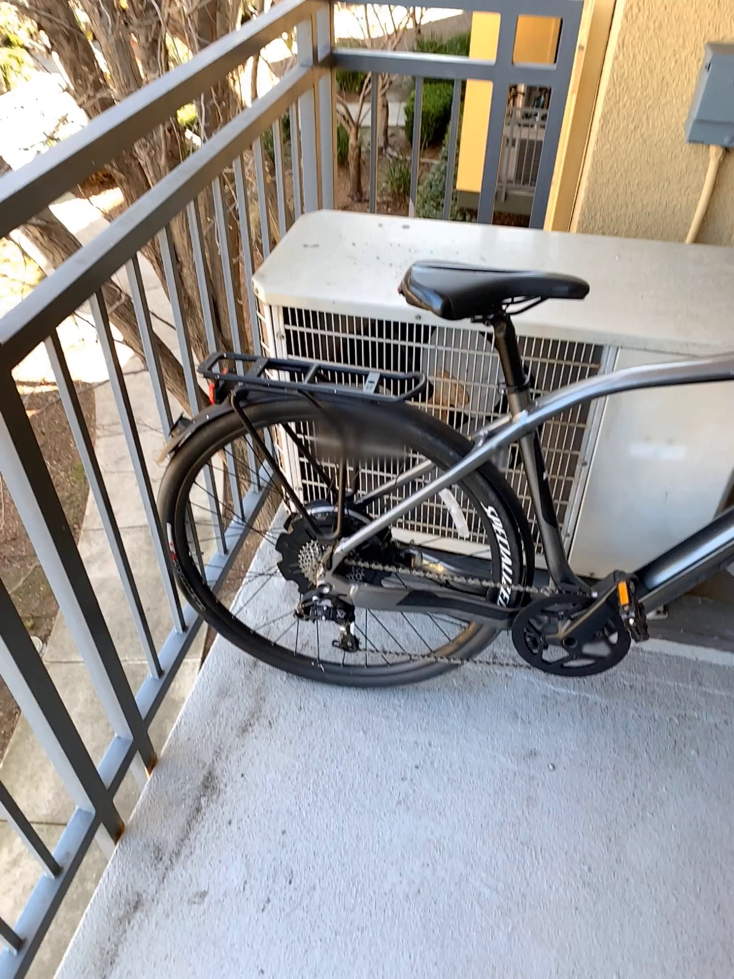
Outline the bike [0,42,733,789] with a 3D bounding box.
[{"bbox_3d":[0.453,-0.081,1.283,1.582,0.971,0.625,5,44,2],"label":"bike"}]
